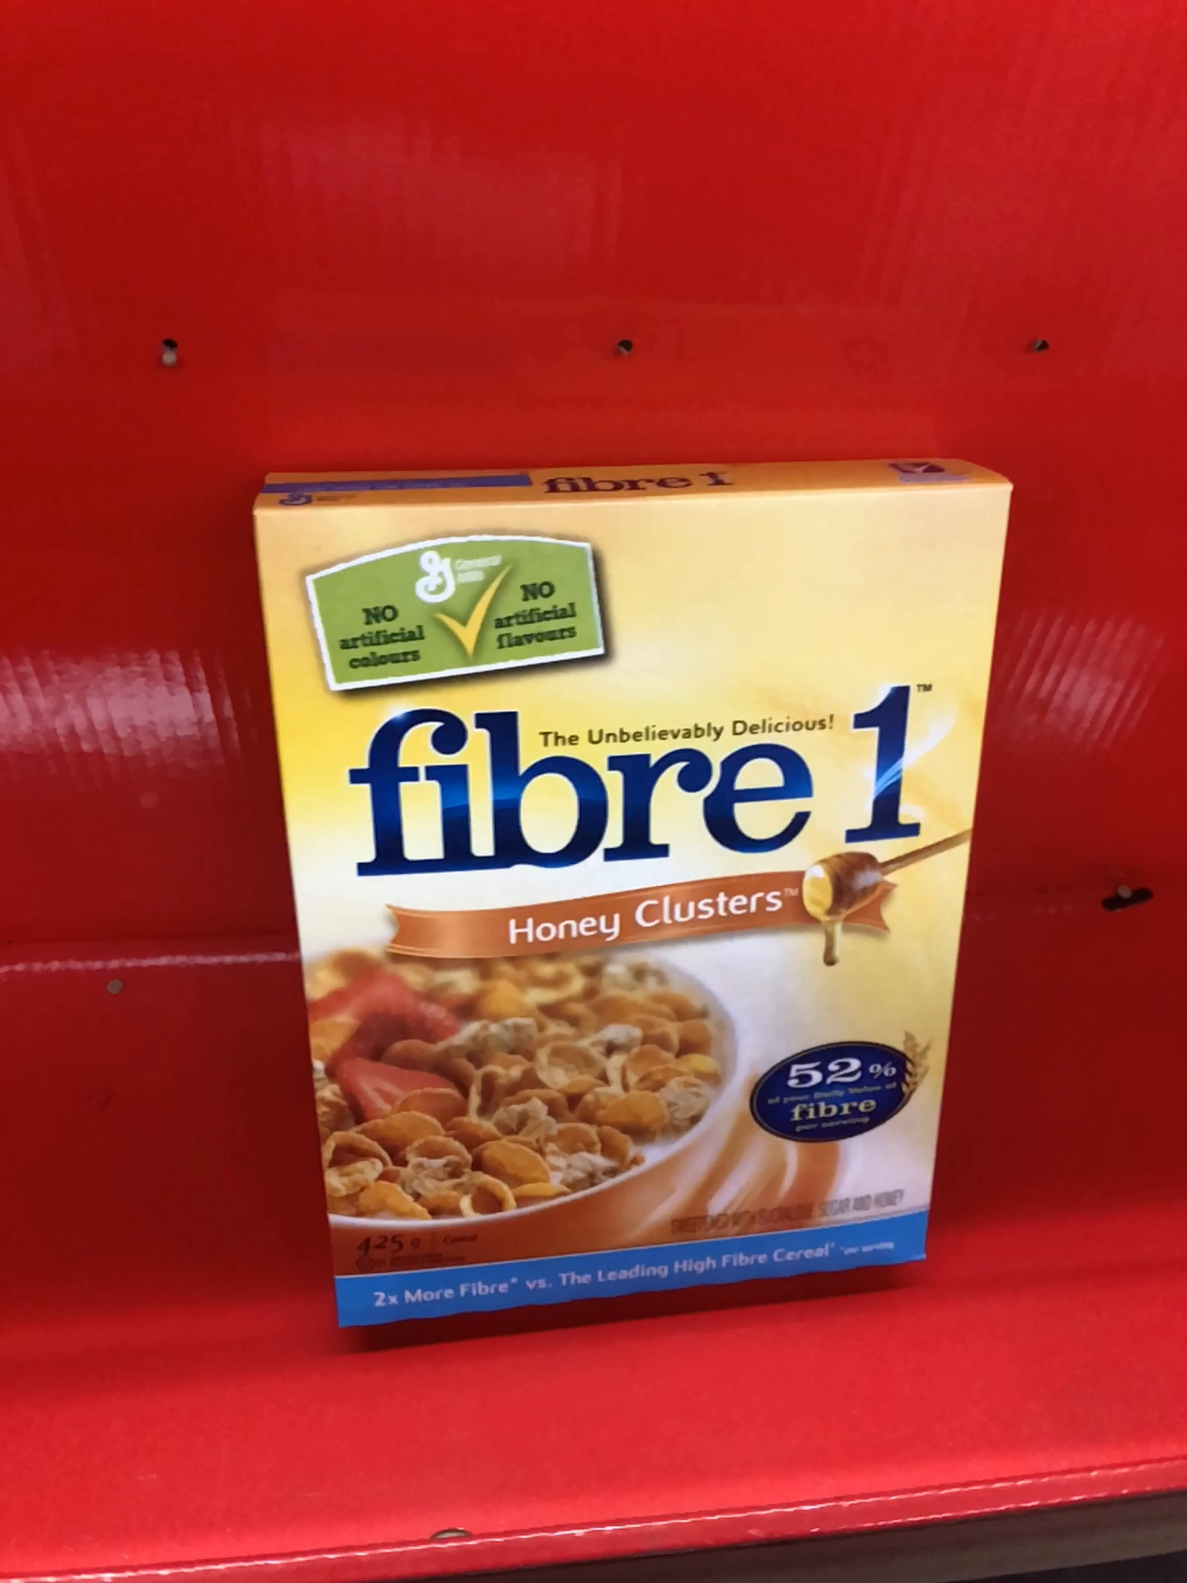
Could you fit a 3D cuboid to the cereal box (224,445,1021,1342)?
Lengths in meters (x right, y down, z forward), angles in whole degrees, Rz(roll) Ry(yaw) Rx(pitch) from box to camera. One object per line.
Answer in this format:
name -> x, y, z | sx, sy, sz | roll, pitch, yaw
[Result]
cereal box -> 0.009, 0.035, 0.417 | 0.210, 0.269, 0.060 | -4, 21, -7
